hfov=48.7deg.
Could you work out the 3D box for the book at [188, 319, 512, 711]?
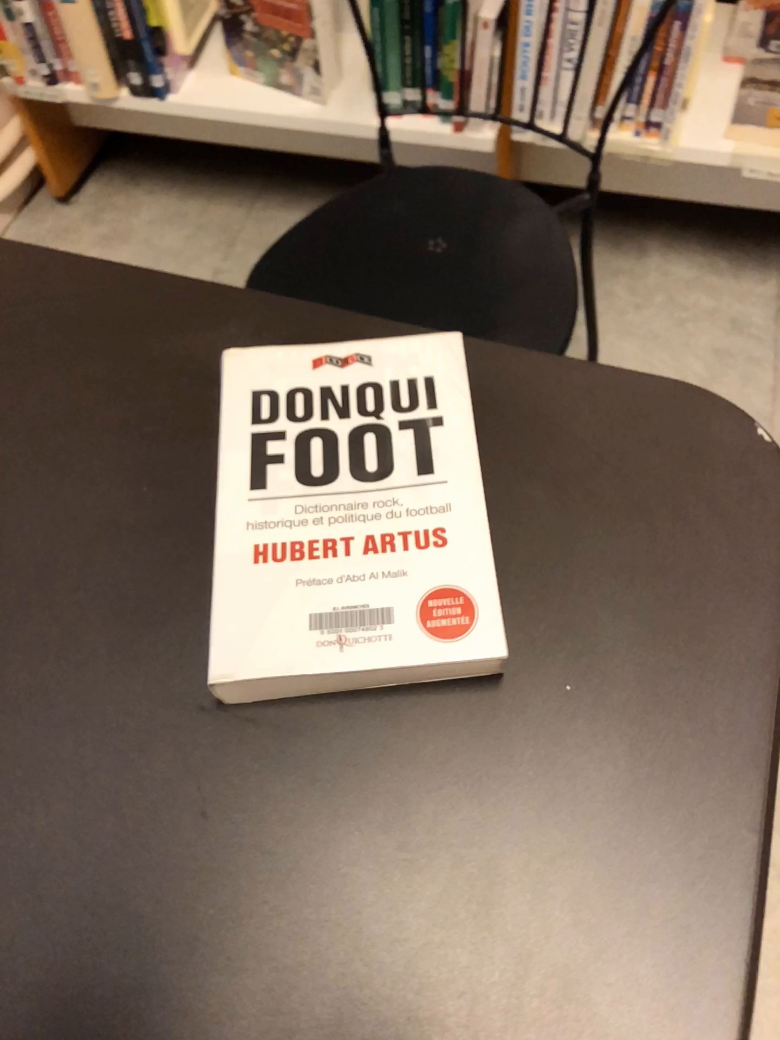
[{"bbox_3d":[-0.024,-0.011,0.463,0.147,0.042,0.208,-5,58,1],"label":"book"}]
